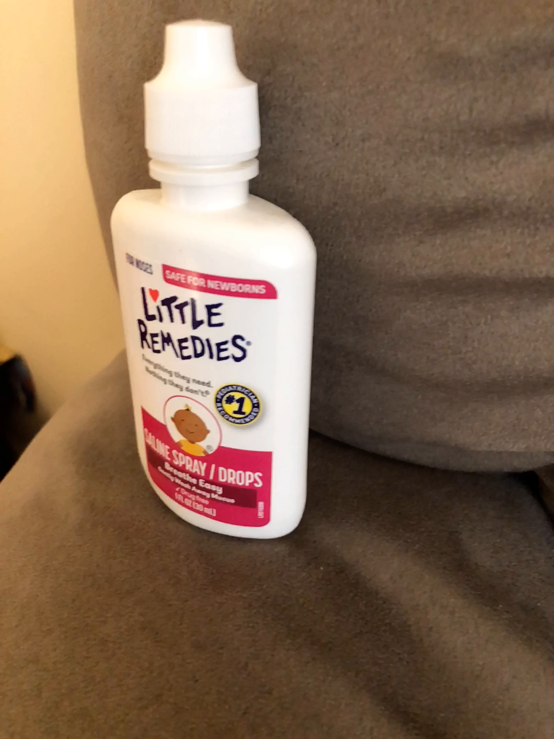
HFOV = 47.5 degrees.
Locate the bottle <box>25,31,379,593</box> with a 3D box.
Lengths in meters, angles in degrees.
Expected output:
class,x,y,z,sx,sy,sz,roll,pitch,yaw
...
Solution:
class,x,y,z,sx,sy,sz,roll,pitch,yaw
bottle,-0.011,-0.011,0.141,0.060,0.110,0.030,18,37,34
